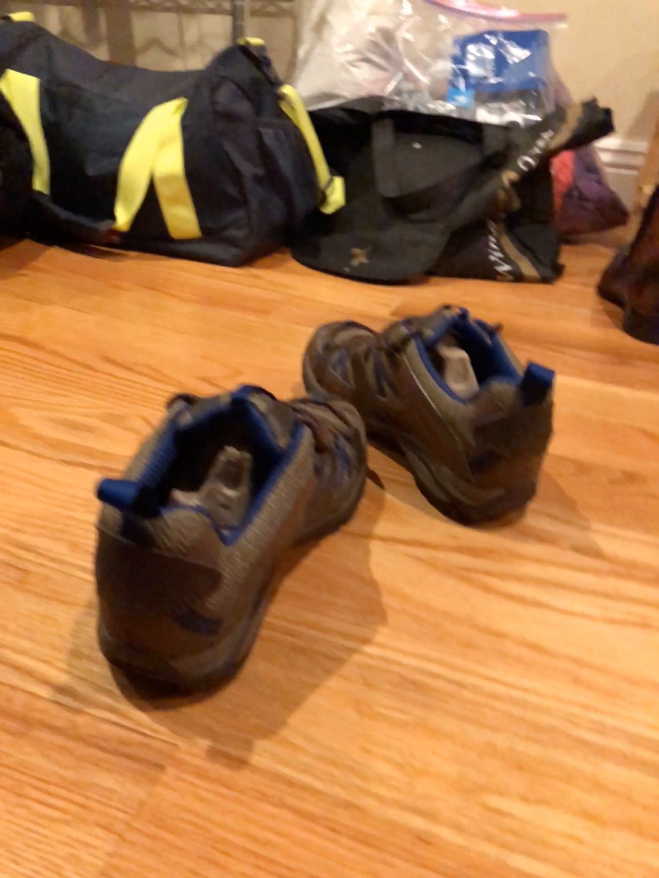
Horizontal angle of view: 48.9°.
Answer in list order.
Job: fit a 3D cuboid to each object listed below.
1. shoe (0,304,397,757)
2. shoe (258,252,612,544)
[{"bbox_3d":[-0.047,0.021,0.384,0.094,0.106,0.241,13,30,15],"label":"shoe"},{"bbox_3d":[0.051,-0.047,0.503,0.097,0.094,0.252,-12,33,-29],"label":"shoe"}]
